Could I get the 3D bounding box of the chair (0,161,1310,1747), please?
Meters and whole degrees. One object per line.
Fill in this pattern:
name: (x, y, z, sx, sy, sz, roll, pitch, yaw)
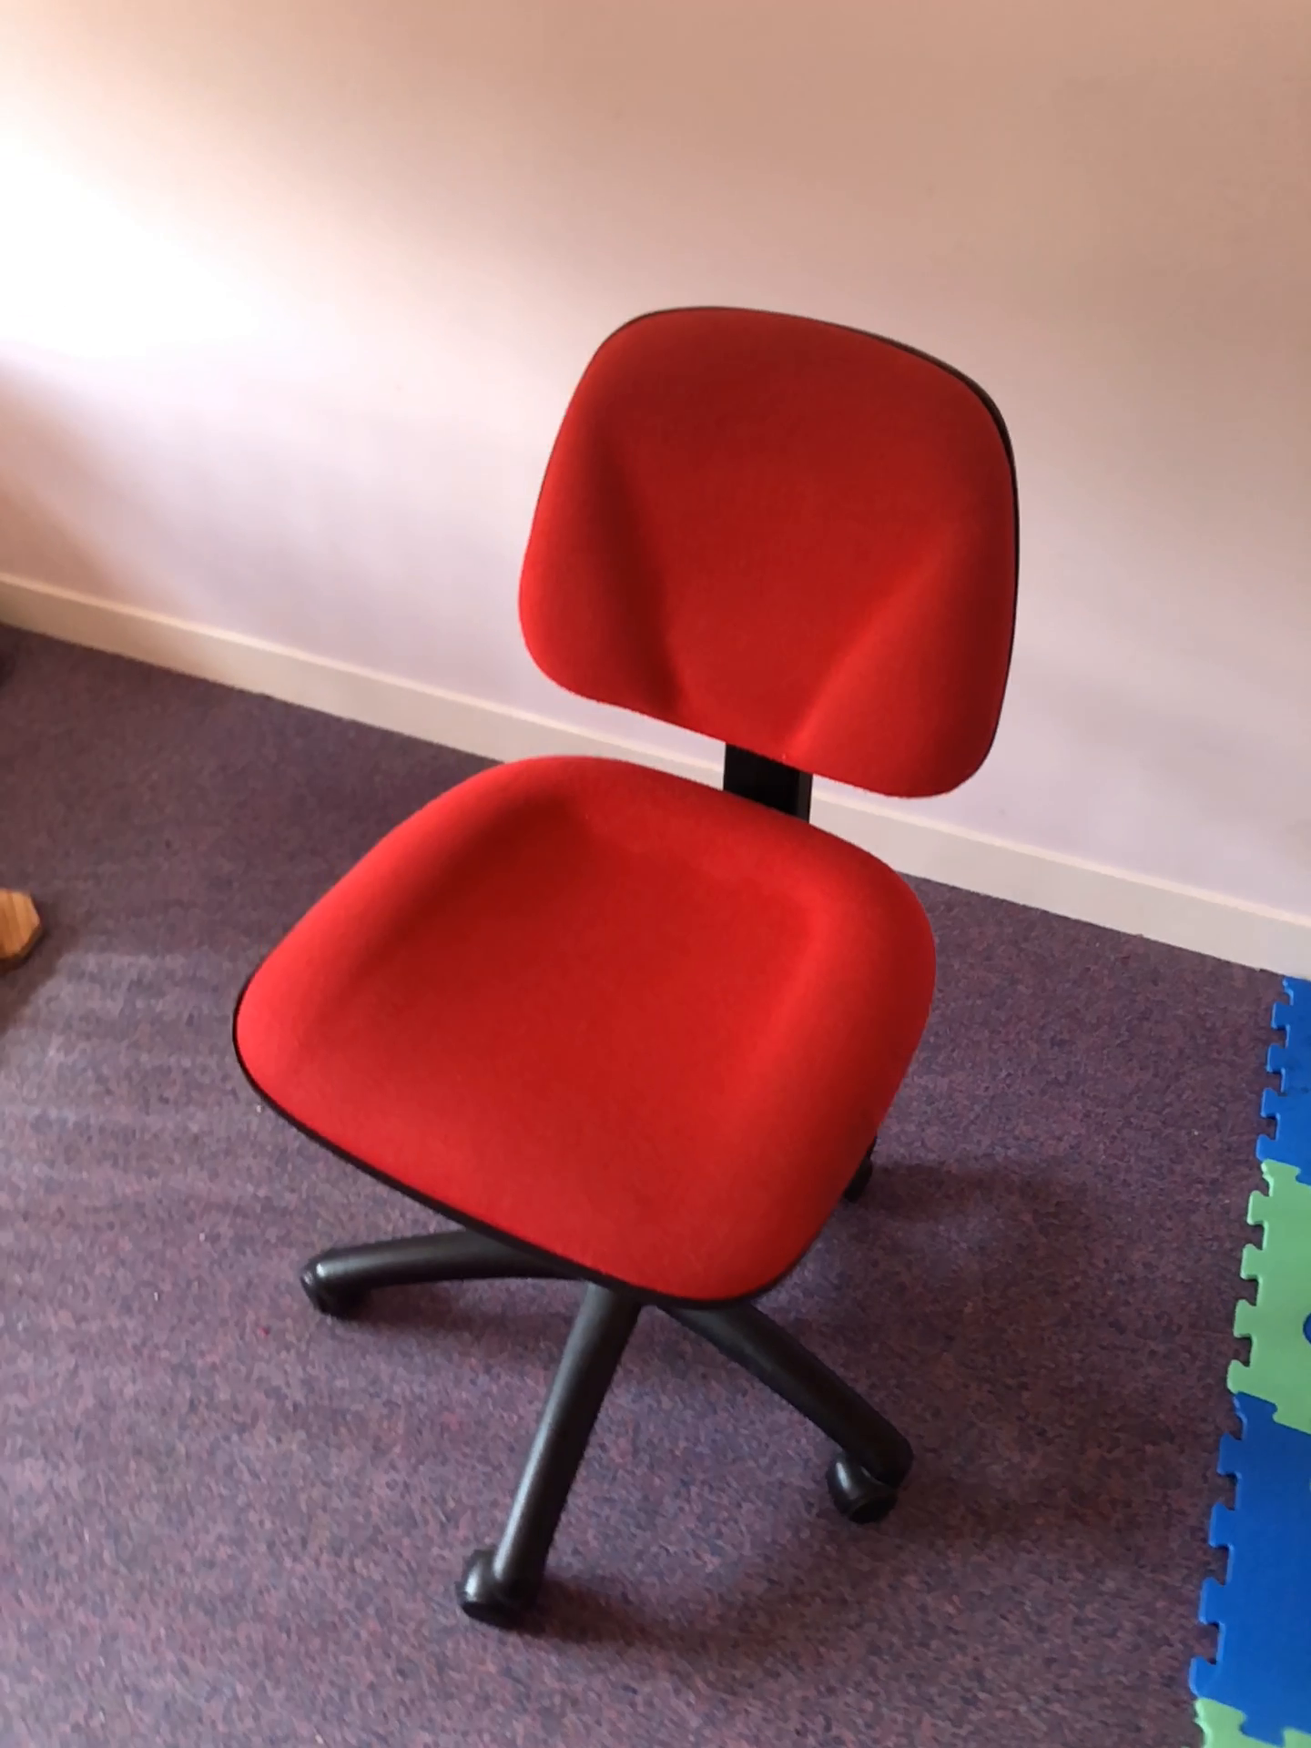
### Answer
chair: (-0.013, 0.099, 1.081, 0.640, 0.895, 0.674, 21, 49, 19)
